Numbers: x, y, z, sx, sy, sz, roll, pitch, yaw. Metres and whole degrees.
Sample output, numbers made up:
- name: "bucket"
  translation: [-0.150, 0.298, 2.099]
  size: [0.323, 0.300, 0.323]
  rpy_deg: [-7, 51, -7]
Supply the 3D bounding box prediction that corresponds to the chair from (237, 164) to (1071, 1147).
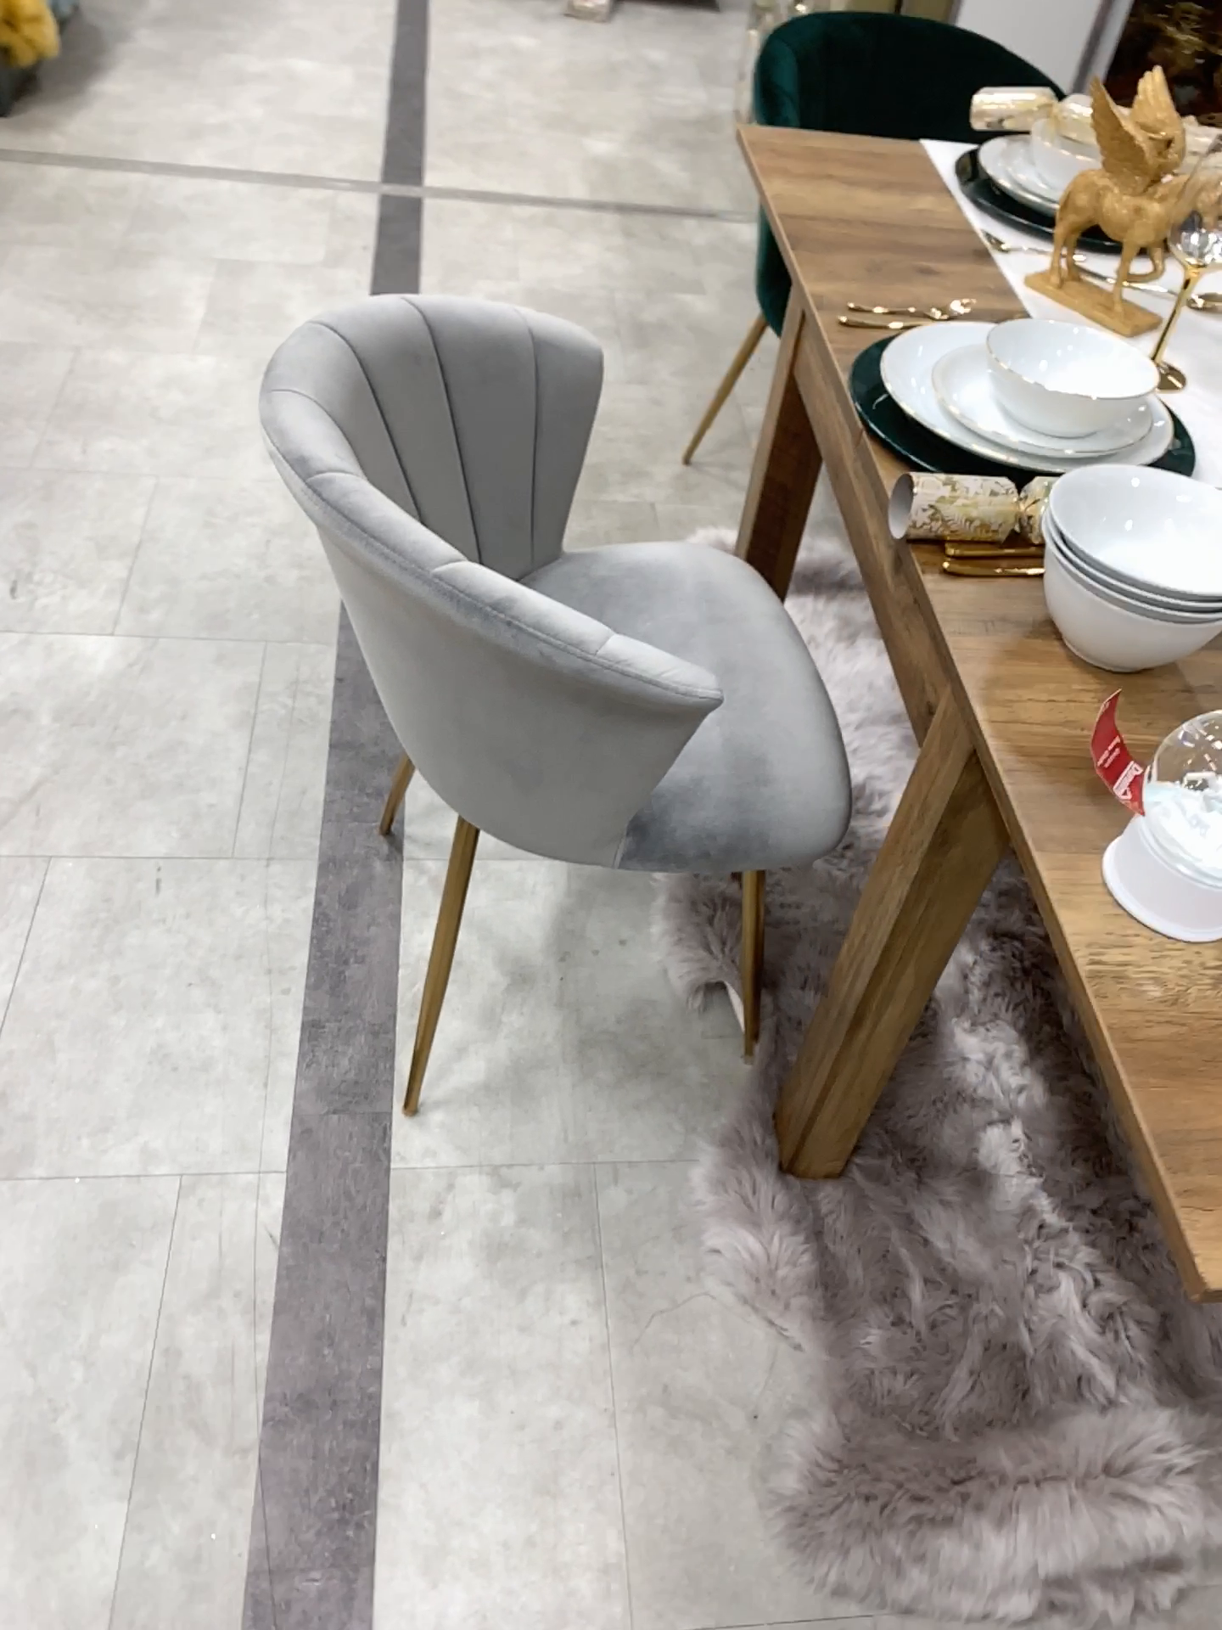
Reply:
- name: "chair"
  translation: [-0.044, -0.149, 1.270]
  size: [0.550, 0.709, 0.636]
  rpy_deg: [-2, 47, -11]
